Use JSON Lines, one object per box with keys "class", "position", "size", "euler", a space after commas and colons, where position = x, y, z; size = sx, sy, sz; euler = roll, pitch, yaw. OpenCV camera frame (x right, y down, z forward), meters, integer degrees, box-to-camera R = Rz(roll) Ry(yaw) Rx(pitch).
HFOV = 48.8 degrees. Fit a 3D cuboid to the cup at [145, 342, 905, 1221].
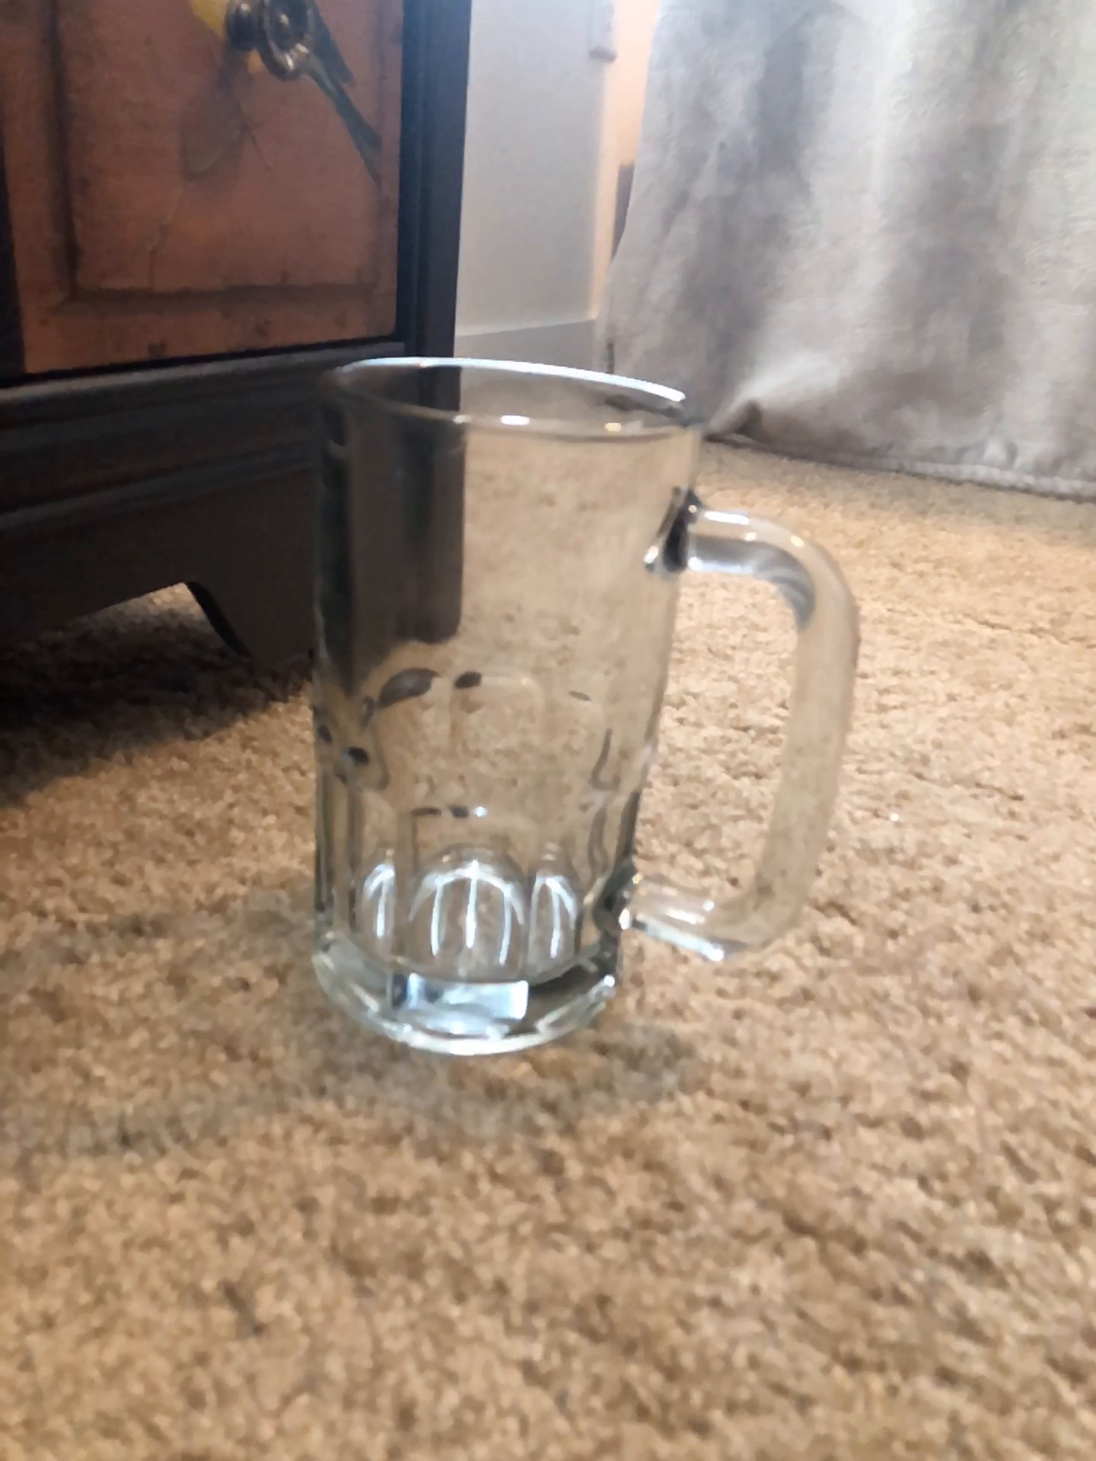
{"class": "cup", "position": [-0.005, -0.002, 0.282], "size": [0.133, 0.156, 0.097], "euler": [13, 22, 20]}
